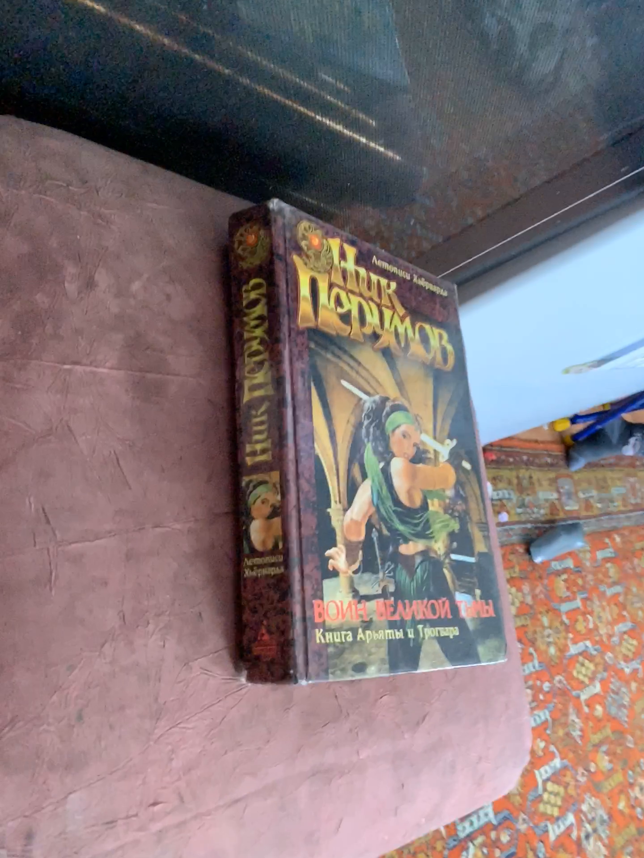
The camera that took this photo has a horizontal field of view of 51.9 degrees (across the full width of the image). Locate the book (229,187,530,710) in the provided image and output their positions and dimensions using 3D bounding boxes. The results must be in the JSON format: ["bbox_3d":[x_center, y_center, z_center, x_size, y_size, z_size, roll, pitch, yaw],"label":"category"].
[{"bbox_3d":[0.027,0.011,0.307,0.140,0.037,0.205,13,65,-41],"label":"book"}]
